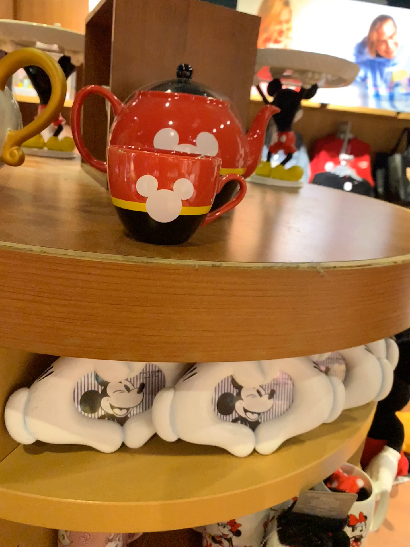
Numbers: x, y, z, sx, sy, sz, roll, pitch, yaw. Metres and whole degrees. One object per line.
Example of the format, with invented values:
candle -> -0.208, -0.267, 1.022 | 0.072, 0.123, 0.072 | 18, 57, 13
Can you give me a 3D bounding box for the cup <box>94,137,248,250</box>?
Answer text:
cup -> -0.026, -0.065, 0.327 | 0.100, 0.066, 0.078 | 5, 18, -4
